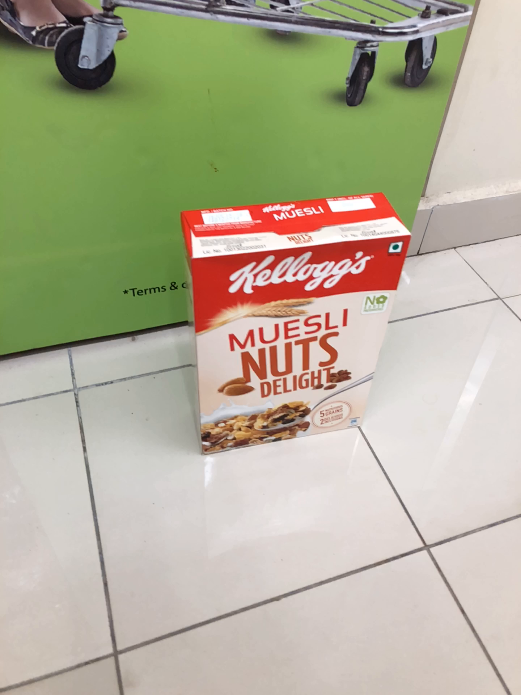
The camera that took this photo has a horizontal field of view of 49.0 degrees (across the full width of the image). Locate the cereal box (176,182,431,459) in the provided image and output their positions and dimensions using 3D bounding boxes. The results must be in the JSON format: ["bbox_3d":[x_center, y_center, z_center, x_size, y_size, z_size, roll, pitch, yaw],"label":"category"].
[{"bbox_3d":[0.028,-0.016,0.573,0.200,0.268,0.080,-8,45,-12],"label":"cereal box"}]
